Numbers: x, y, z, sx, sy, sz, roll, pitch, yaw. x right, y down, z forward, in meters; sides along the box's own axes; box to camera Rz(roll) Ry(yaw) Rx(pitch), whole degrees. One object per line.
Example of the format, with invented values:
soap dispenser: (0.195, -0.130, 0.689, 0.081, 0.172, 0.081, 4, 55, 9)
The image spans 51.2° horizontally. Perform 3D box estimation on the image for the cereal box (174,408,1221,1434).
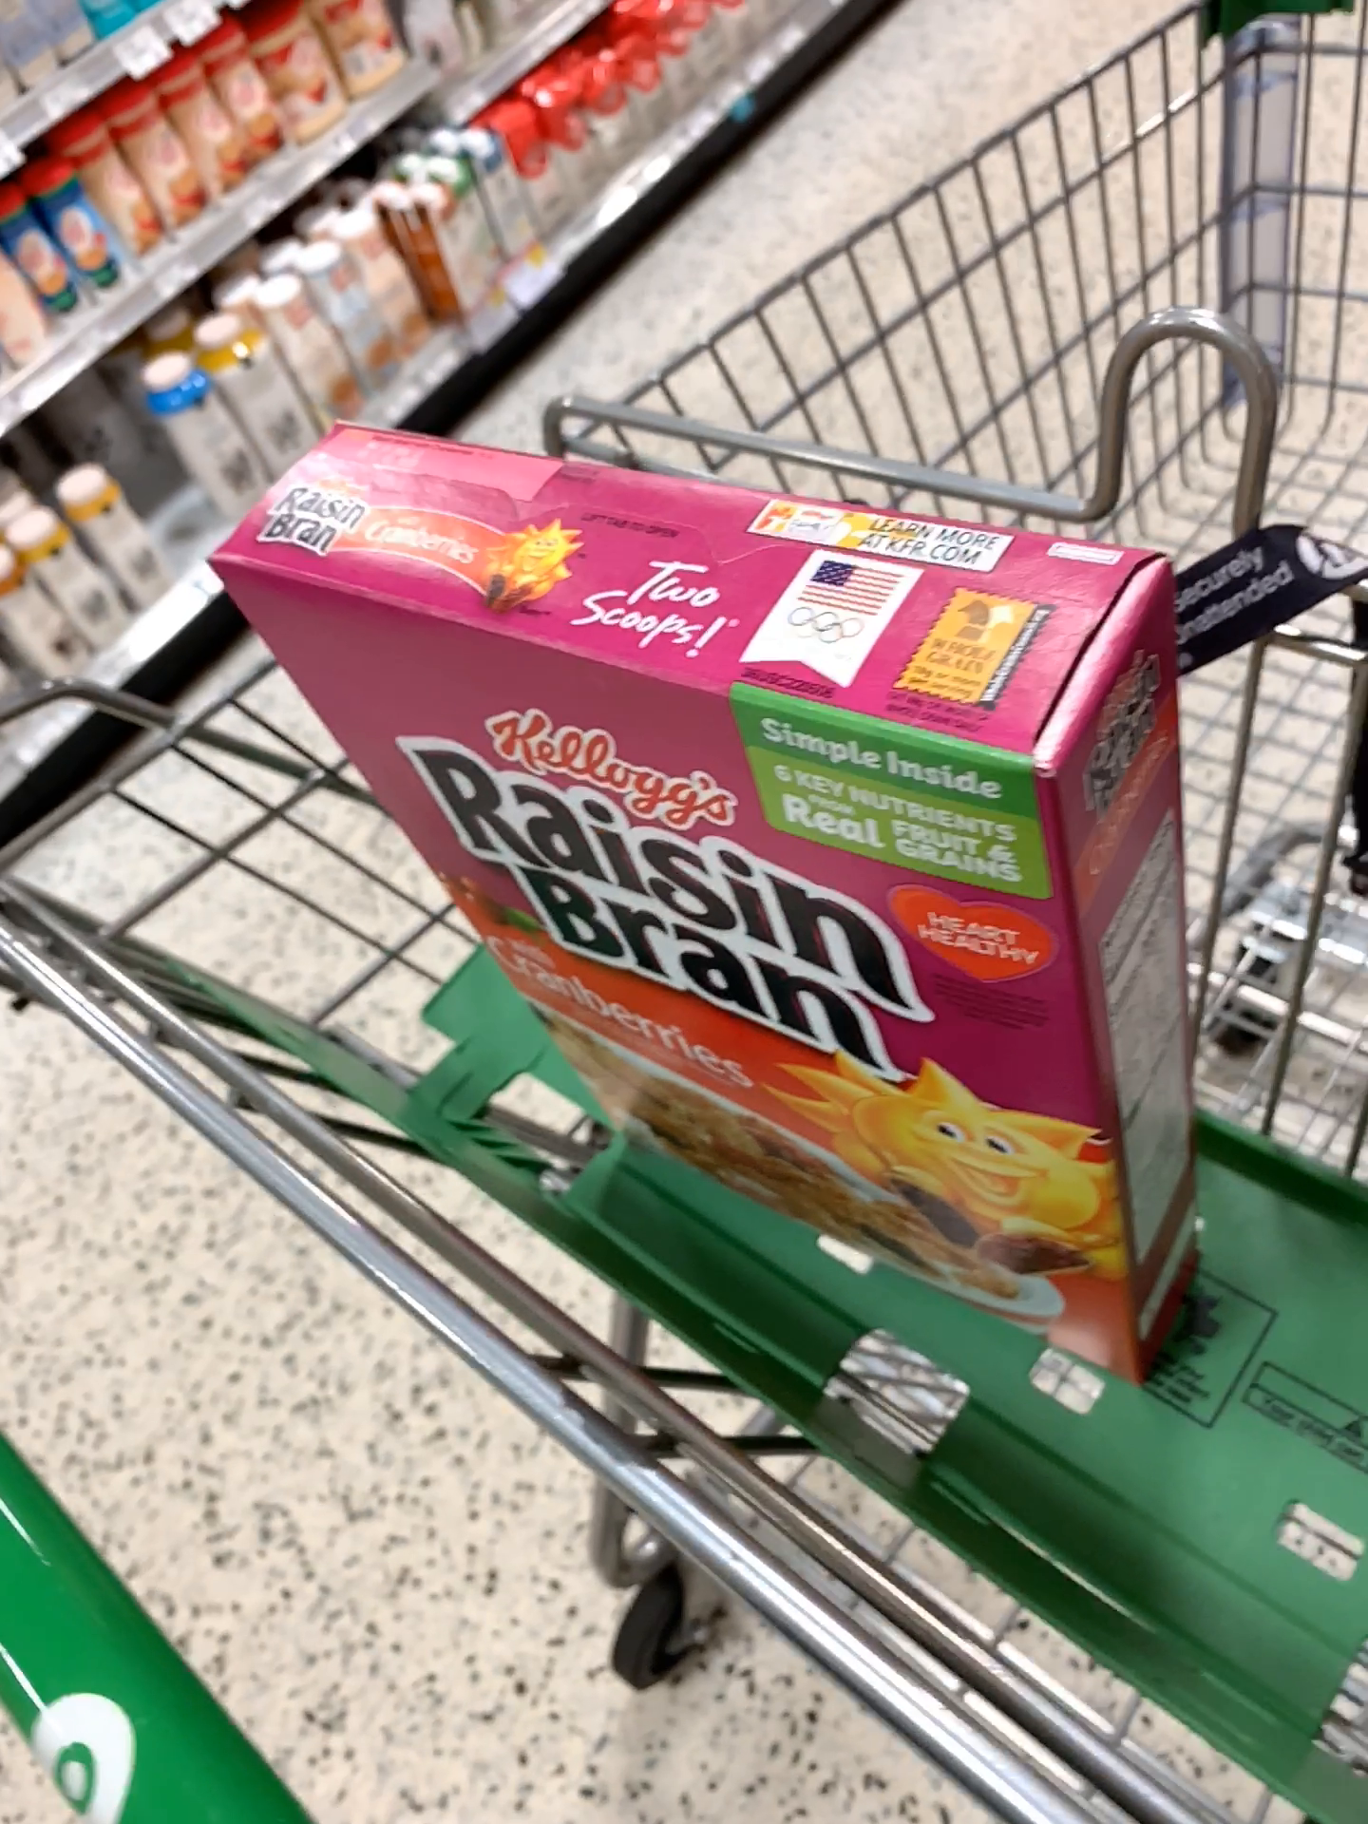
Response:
cereal box: (0.034, 0.025, 0.395, 0.211, 0.327, 0.050, 20, 65, 31)
